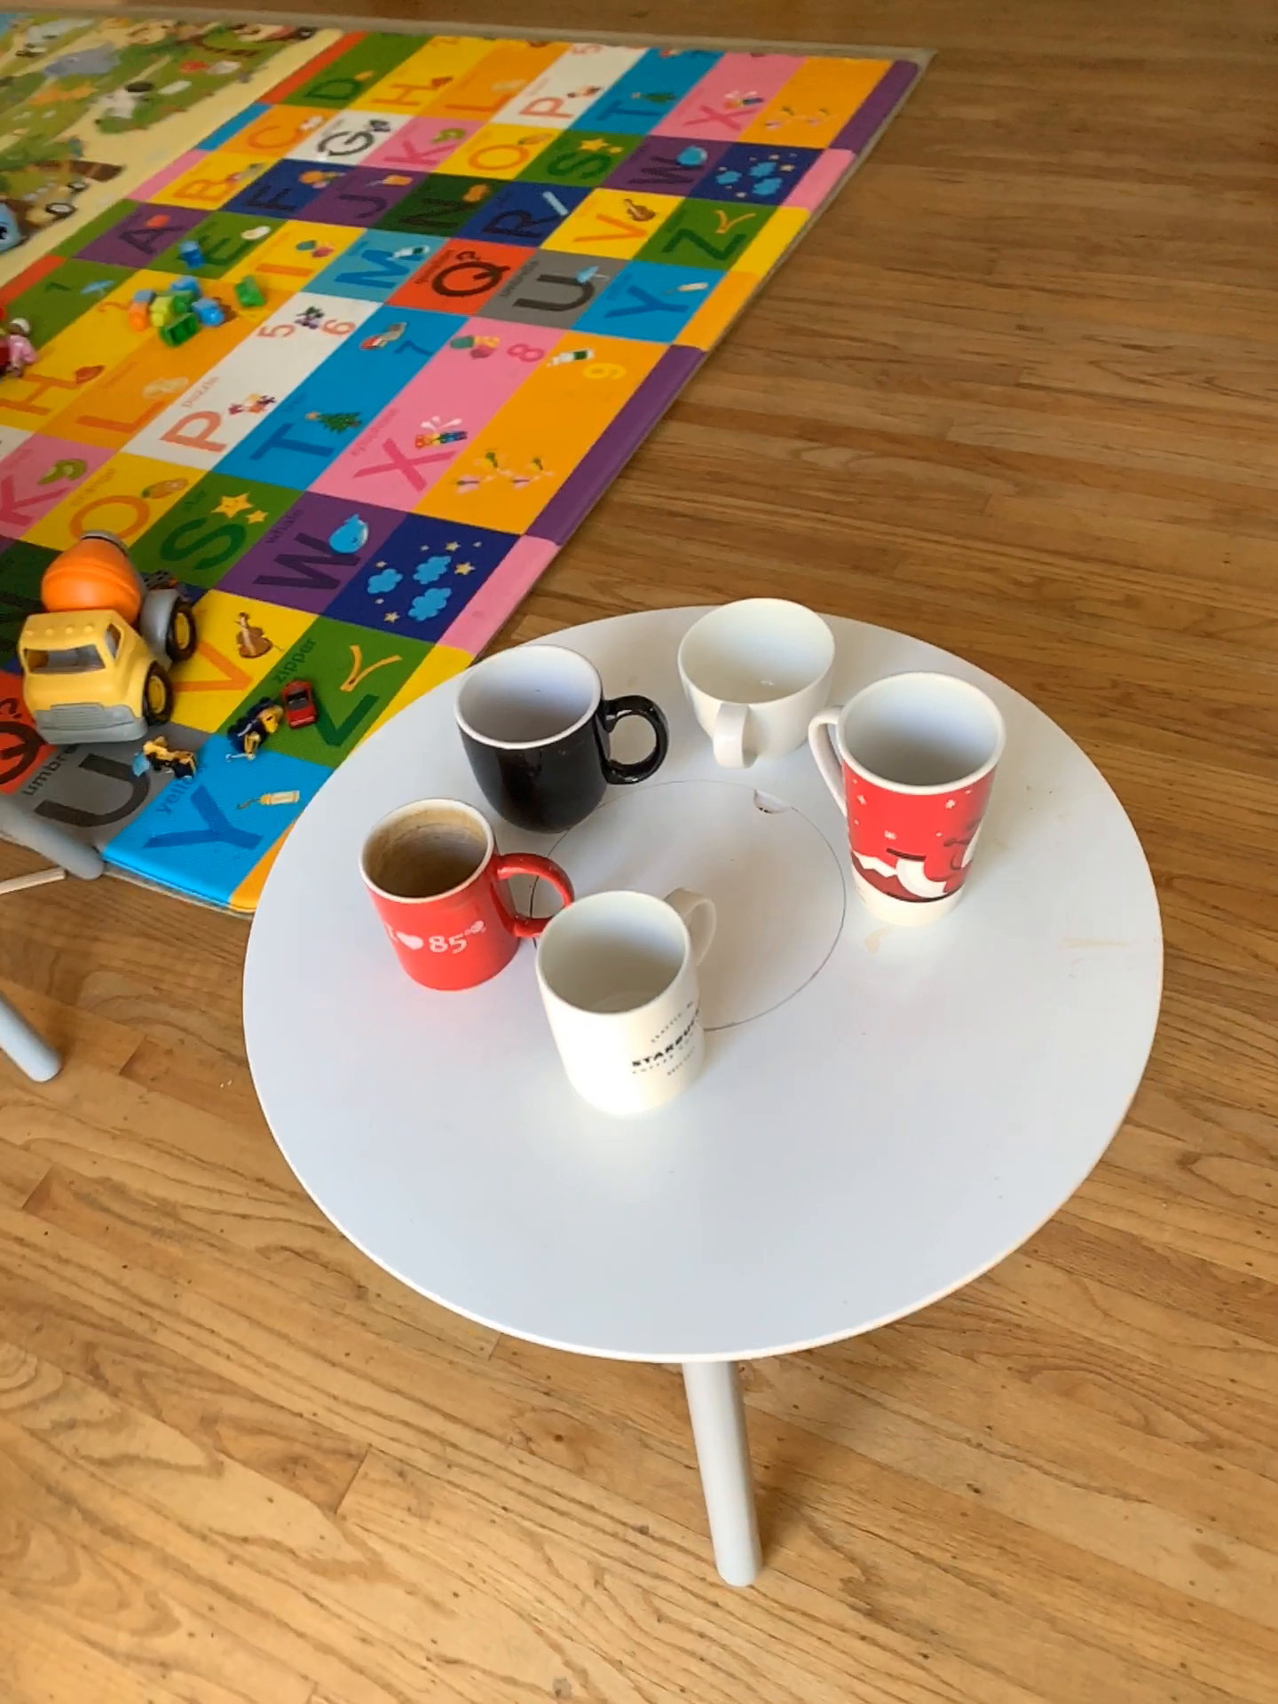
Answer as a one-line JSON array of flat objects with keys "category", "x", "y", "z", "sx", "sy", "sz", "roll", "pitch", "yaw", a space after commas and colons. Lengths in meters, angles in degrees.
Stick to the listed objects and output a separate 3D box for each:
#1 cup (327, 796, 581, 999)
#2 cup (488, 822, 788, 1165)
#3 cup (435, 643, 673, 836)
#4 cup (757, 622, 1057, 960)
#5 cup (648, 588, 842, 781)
[{"category": "cup", "x": -0.104, "y": 0.027, "z": 0.768, "sx": 0.120, "sy": 0.090, "sz": 0.080, "roll": 0, "pitch": 51, "yaw": 8}, {"category": "cup", "x": 0.004, "y": 0.076, "z": 0.716, "sx": 0.090, "sy": 0.100, "sz": 0.130, "roll": 34, "pitch": 63, "yaw": 30}, {"category": "cup", "x": -0.049, "y": -0.070, "z": 0.828, "sx": 0.130, "sy": 0.080, "sz": 0.090, "roll": 0, "pitch": 51, "yaw": 8}, {"category": "cup", "x": 0.154, "y": -0.037, "z": 0.774, "sx": 0.100, "sy": 0.120, "sz": 0.130, "roll": -39, "pitch": 56, "yaw": -22}, {"category": "cup", "x": 0.069, "y": -0.107, "z": 0.818, "sx": 0.100, "sy": 0.040, "sz": 0.120, "roll": 6, "pitch": 52, "yaw": 13}]
